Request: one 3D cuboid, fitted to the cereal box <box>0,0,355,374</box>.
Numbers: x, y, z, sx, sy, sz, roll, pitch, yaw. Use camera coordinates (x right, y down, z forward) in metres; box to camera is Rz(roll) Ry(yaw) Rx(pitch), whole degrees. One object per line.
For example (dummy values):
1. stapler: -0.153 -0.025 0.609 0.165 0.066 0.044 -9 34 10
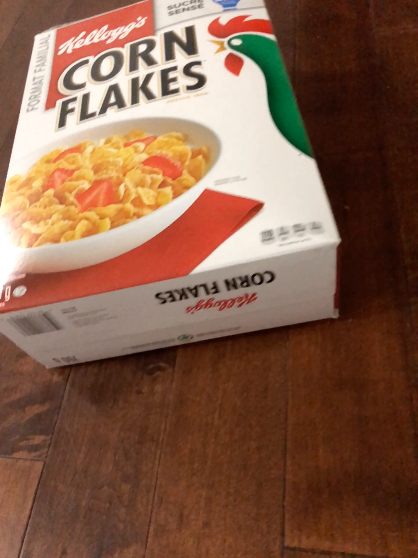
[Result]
1. cereal box: -0.048 -0.127 0.436 0.260 0.090 0.381 -11 57 7
